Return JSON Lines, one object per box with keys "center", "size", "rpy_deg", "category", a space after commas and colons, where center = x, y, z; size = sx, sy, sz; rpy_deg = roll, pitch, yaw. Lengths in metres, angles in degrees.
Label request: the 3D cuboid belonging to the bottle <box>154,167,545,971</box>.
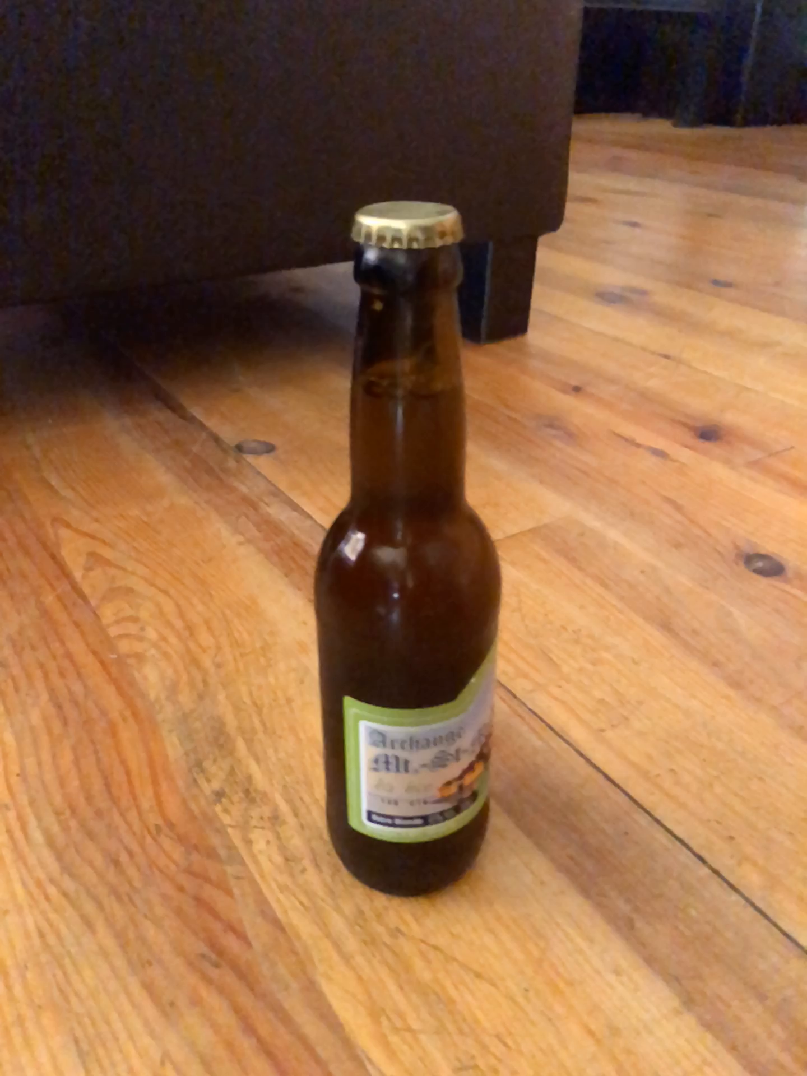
{"center": [-0.011, 0.016, 0.271], "size": [0.070, 0.229, 0.070], "rpy_deg": [1, 29, 0], "category": "bottle"}
